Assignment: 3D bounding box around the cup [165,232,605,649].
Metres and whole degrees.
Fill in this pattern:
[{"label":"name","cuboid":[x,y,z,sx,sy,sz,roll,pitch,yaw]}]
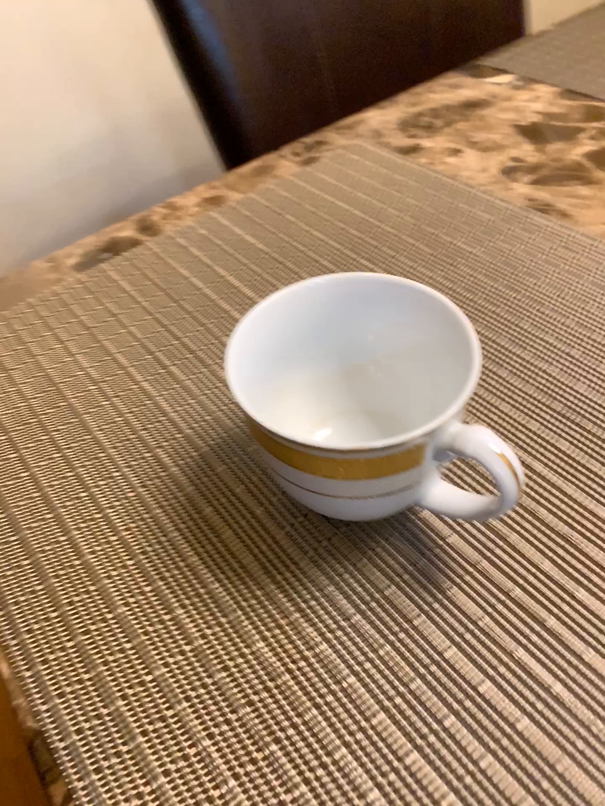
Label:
[{"label":"cup","cuboid":[0.024,0.004,0.205,0.083,0.055,0.103,-36,53,-24]}]
